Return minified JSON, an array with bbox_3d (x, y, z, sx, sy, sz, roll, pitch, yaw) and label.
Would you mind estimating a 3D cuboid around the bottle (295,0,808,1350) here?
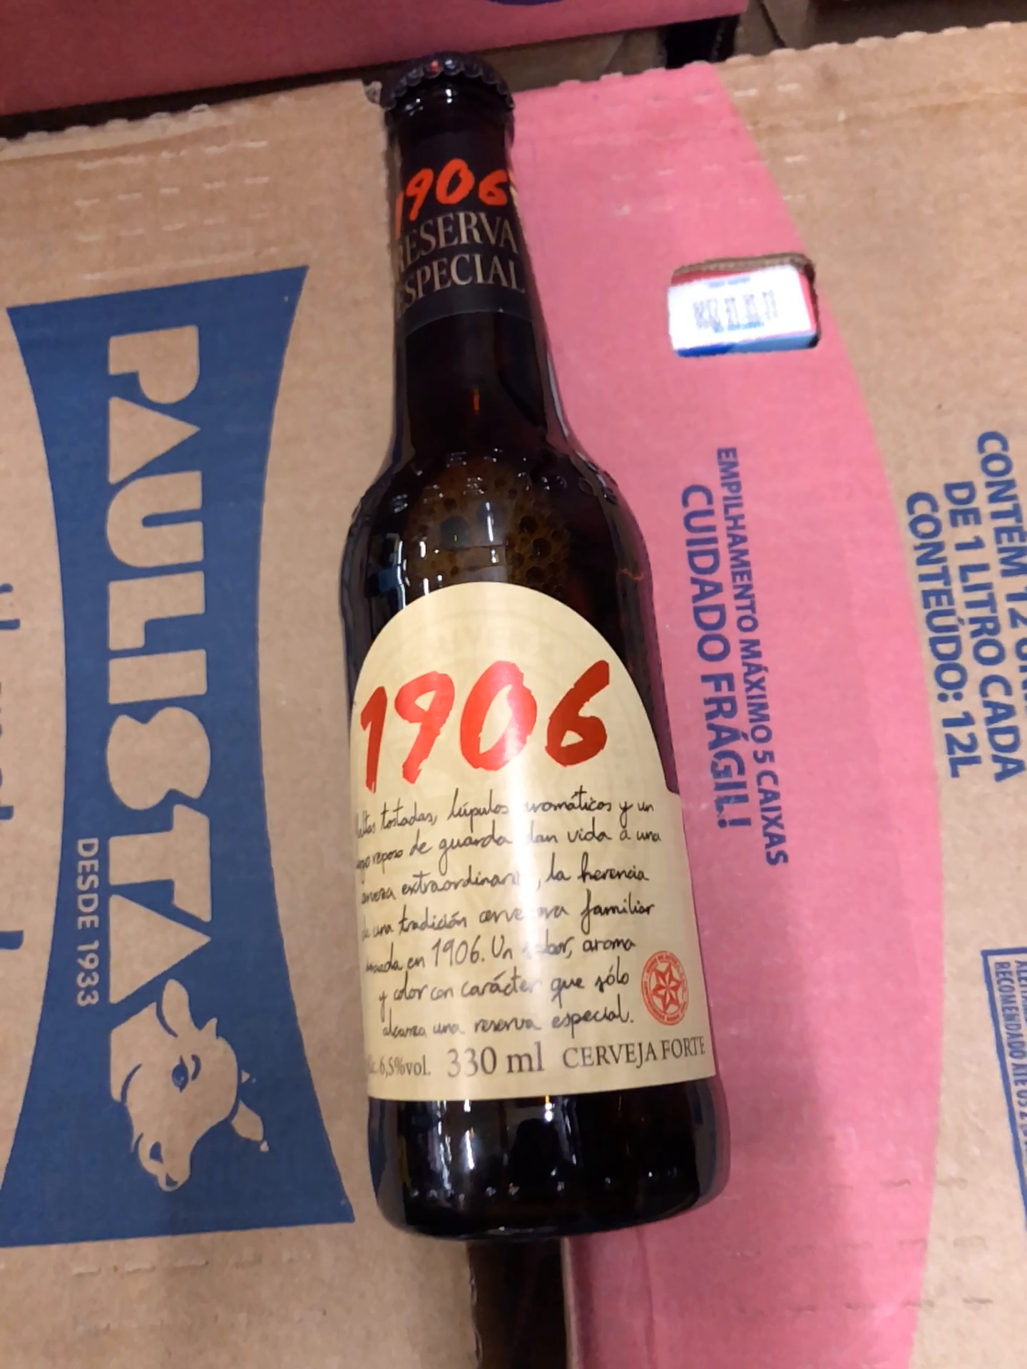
[{"bbox_3d":[0.001,-0.023,0.240,0.070,0.060,0.270,-5,77,2],"label":"bottle"}]
